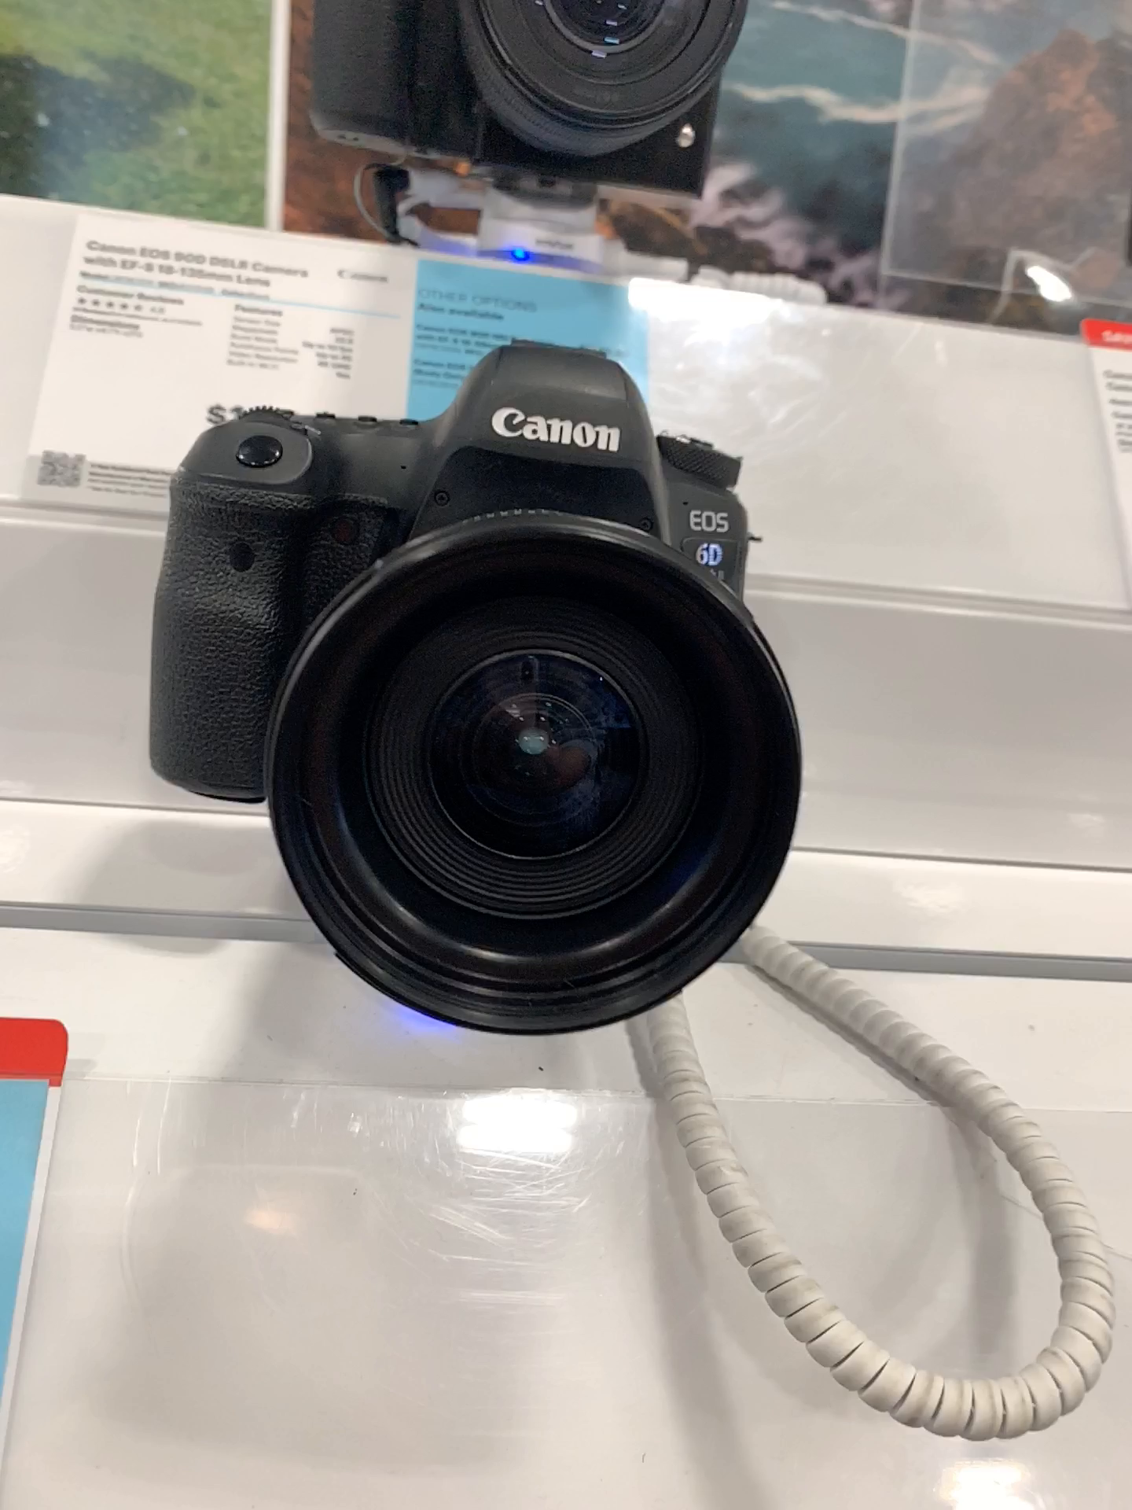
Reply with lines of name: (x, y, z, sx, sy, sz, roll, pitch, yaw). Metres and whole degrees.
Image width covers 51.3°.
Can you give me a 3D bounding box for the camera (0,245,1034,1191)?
camera: (-0.024, -0.025, 0.242, 0.137, 0.124, 0.180, 4, 20, -7)
